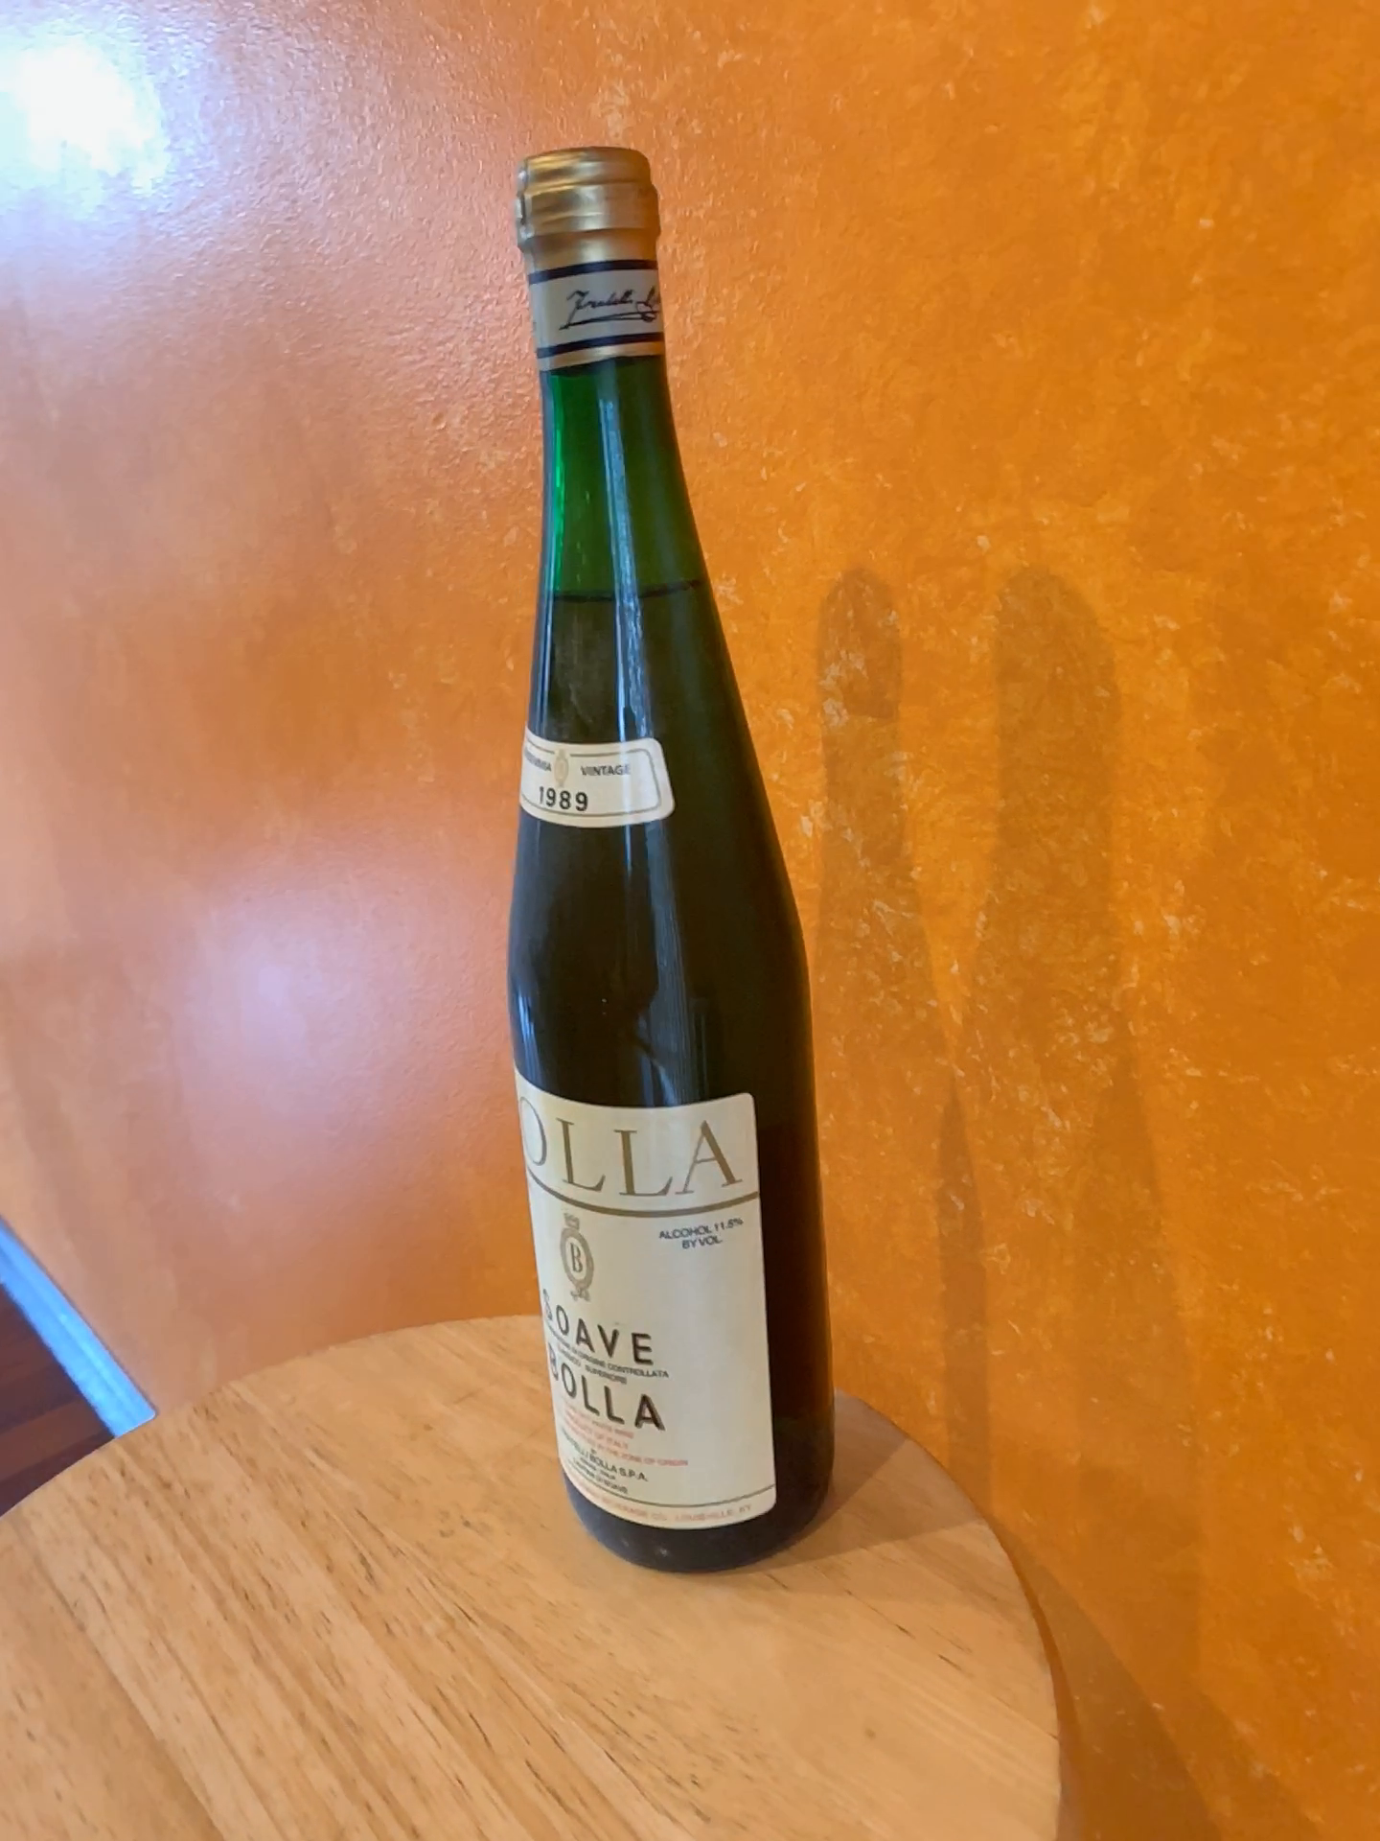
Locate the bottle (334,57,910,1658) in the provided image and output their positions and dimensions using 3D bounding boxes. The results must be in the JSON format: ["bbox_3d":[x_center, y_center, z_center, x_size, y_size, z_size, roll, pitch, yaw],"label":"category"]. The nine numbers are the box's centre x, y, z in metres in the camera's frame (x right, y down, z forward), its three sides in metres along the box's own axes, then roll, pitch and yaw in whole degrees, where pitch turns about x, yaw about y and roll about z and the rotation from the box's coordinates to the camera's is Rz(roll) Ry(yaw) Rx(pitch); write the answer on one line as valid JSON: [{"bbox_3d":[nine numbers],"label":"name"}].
[{"bbox_3d":[-0.006,0.000,0.340,0.080,0.339,0.070,12,24,41],"label":"bottle"}]
